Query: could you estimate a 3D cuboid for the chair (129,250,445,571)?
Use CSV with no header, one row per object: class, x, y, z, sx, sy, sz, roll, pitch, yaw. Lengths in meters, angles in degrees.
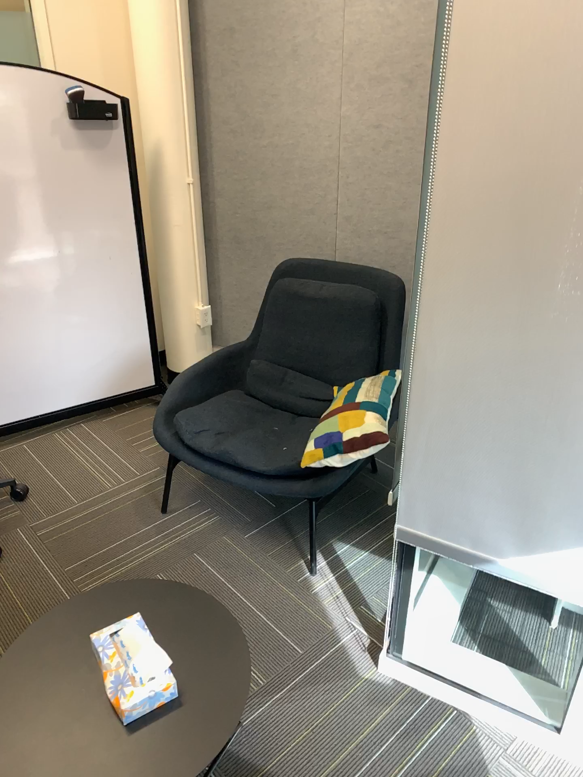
chair,0.022,-0.012,2.492,0.793,0.815,1.002,18,32,31
